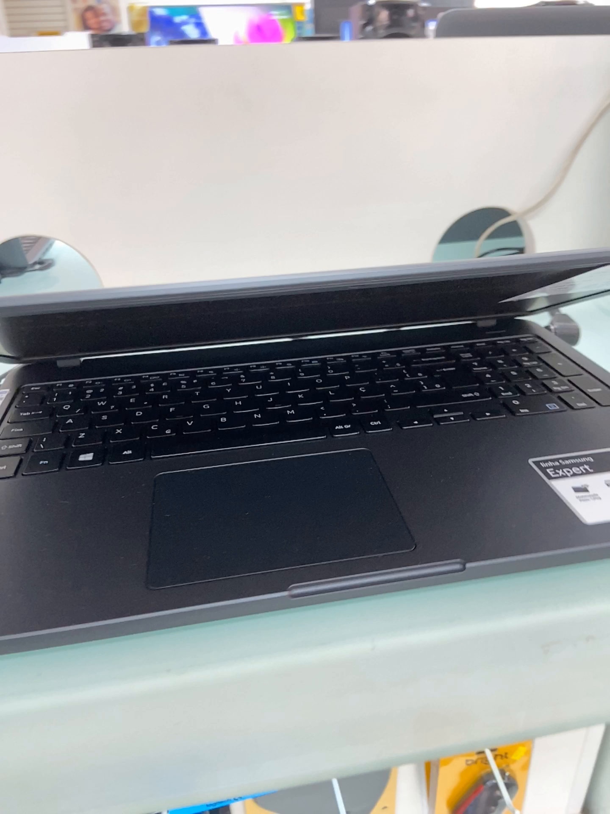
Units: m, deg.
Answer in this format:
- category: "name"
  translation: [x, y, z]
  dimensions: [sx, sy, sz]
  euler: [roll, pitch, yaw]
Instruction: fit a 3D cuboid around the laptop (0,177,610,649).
- category: "laptop"
  translation: [0.009, -0.037, 0.324]
  dimensions: [0.376, 0.101, 0.234]
  euler: [-6, 28, -8]
